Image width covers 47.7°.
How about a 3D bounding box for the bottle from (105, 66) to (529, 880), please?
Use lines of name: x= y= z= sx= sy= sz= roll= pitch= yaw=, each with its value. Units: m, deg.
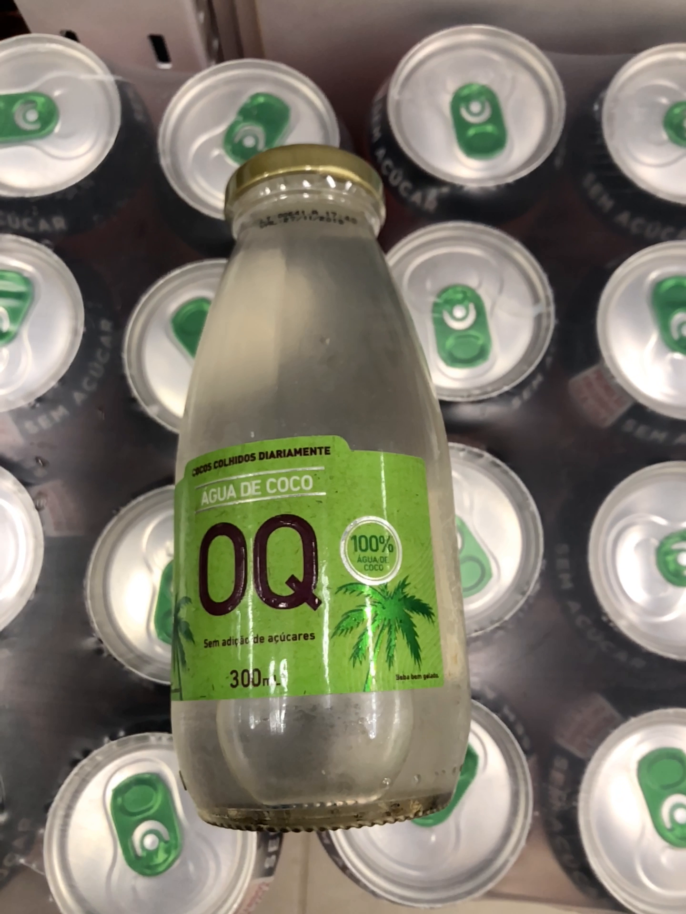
bottle: x=-0.002 y=0.003 z=0.177 sx=0.070 sy=0.060 sz=0.150 roll=-6 pitch=75 yaw=18
